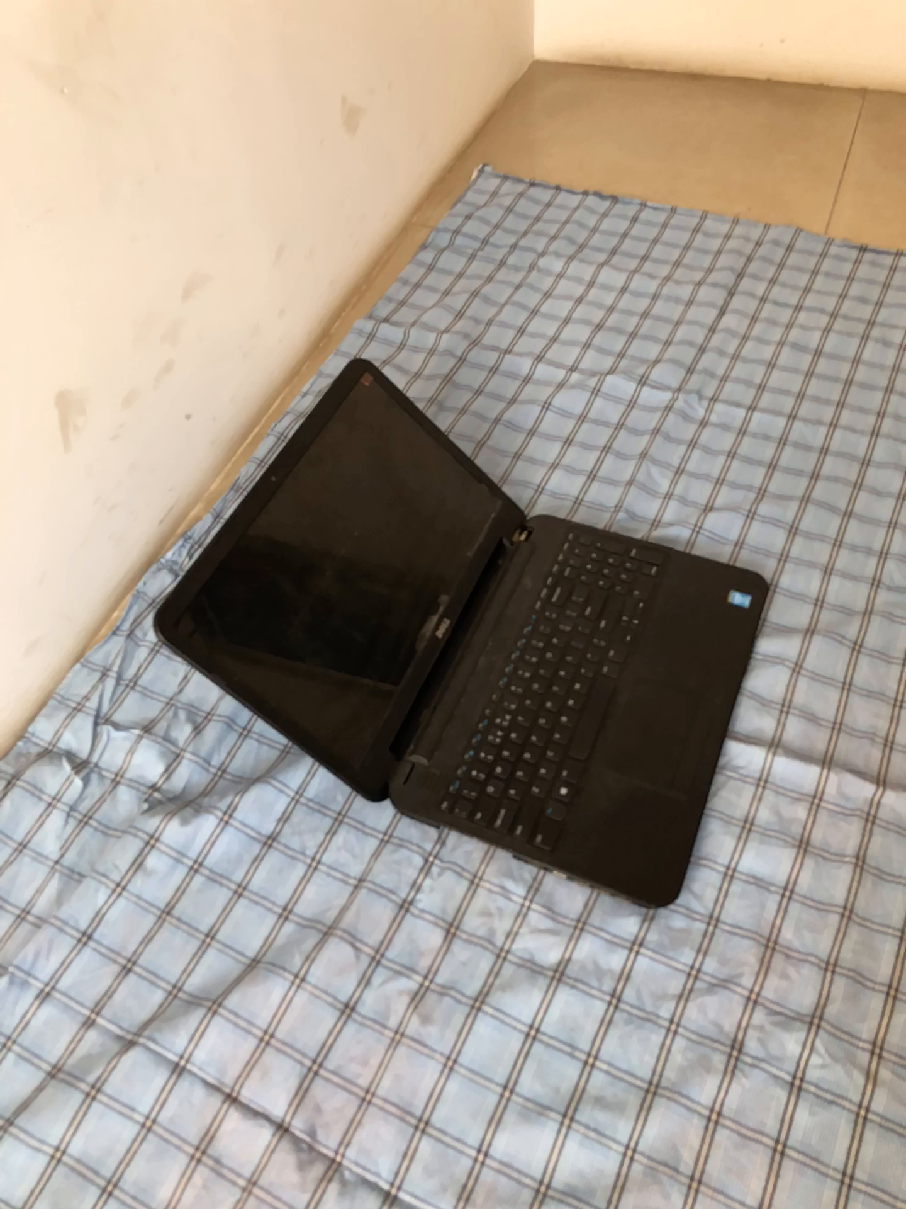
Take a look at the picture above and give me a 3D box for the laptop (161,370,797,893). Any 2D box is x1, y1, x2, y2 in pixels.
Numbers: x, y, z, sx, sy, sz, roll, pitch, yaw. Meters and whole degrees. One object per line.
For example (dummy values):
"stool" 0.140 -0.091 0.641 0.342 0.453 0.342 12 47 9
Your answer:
"laptop" 0.039 -0.004 0.869 0.413 0.163 0.357 15 52 18
